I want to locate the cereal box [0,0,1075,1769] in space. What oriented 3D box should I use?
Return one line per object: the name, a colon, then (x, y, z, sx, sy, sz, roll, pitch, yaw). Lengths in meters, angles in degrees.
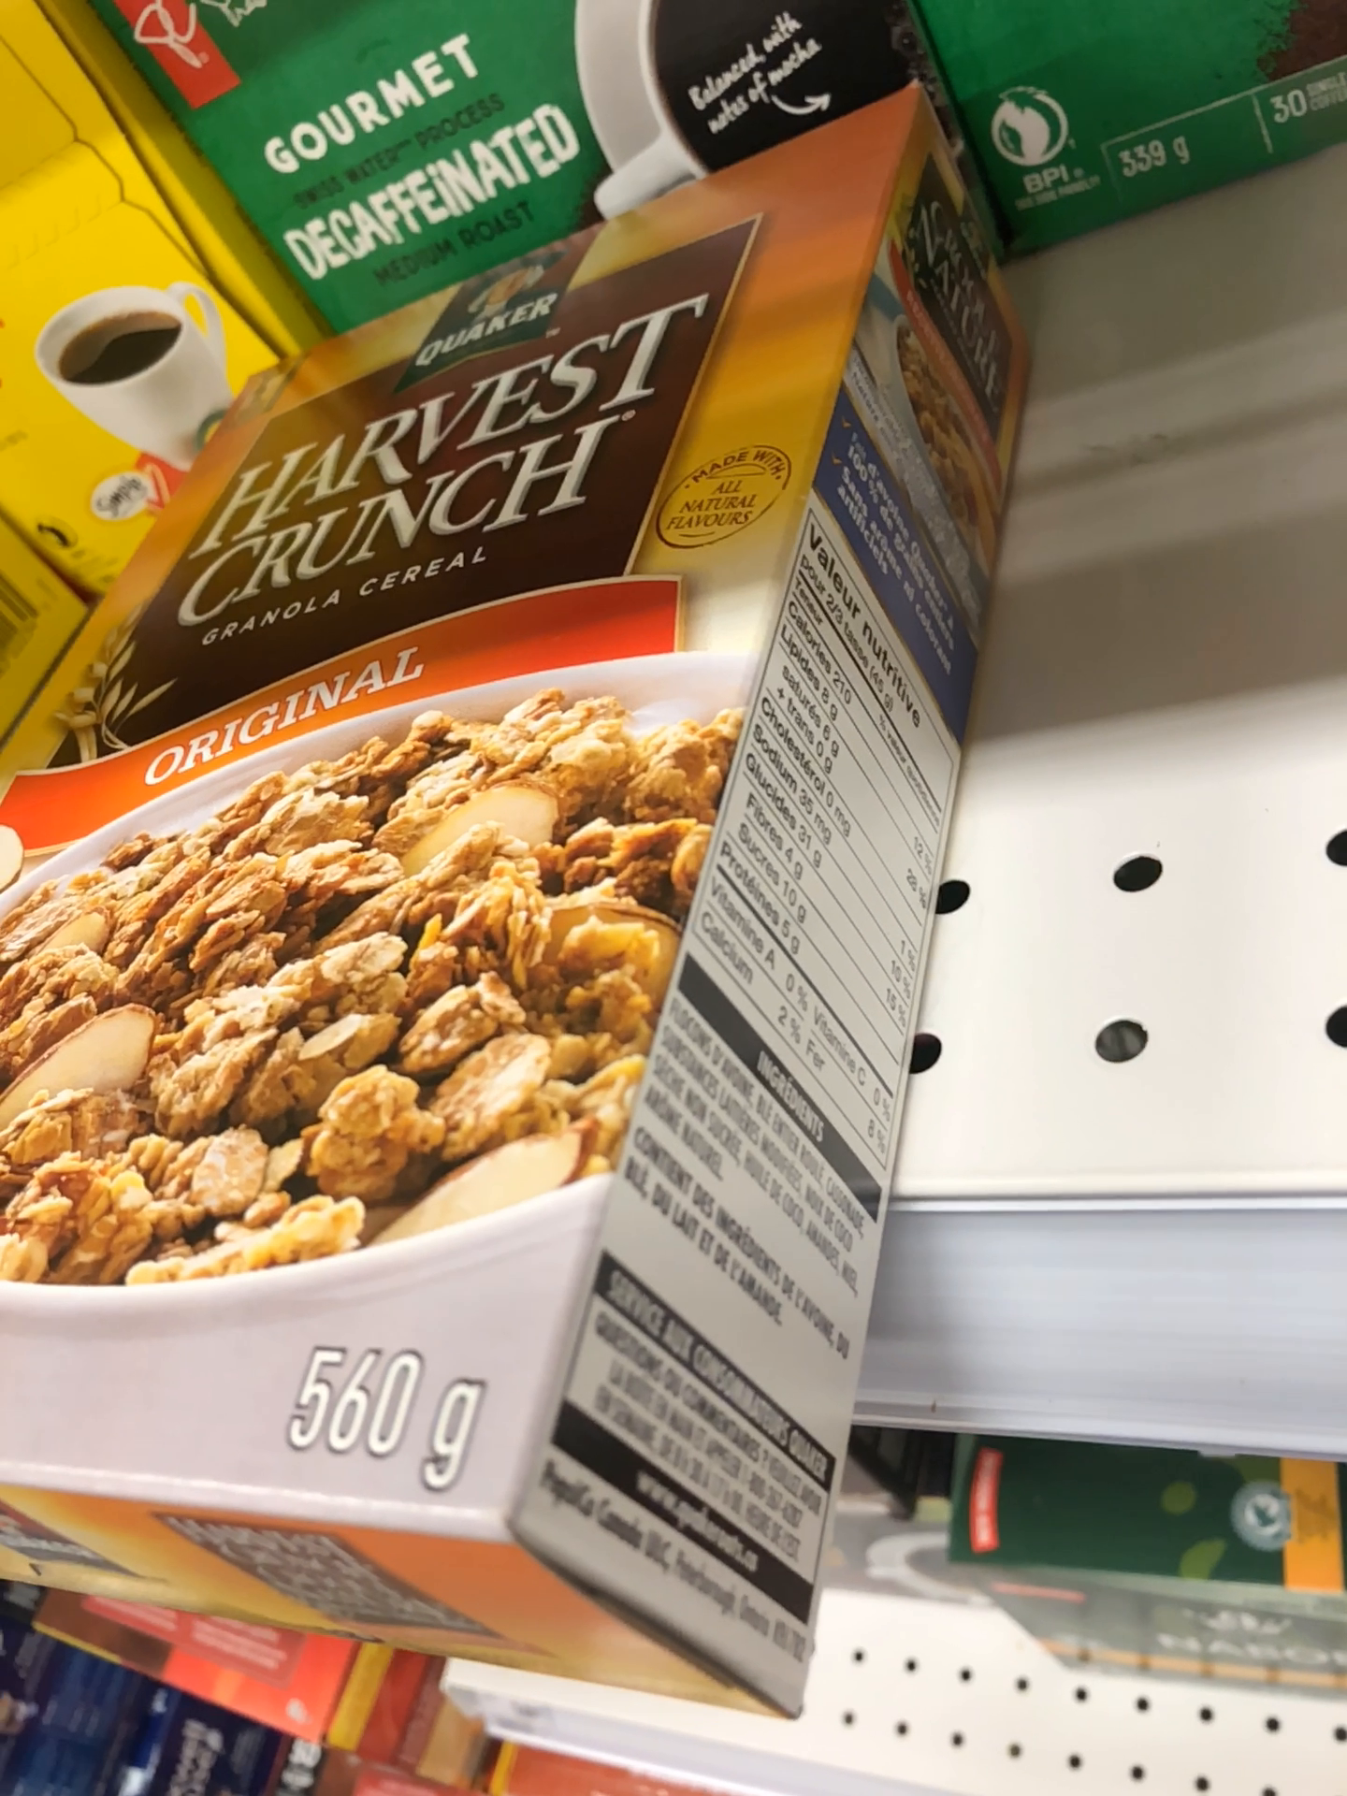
cereal box: (-0.039, -0.037, 0.243, 0.171, 0.050, 0.280, -9, 47, 31)
